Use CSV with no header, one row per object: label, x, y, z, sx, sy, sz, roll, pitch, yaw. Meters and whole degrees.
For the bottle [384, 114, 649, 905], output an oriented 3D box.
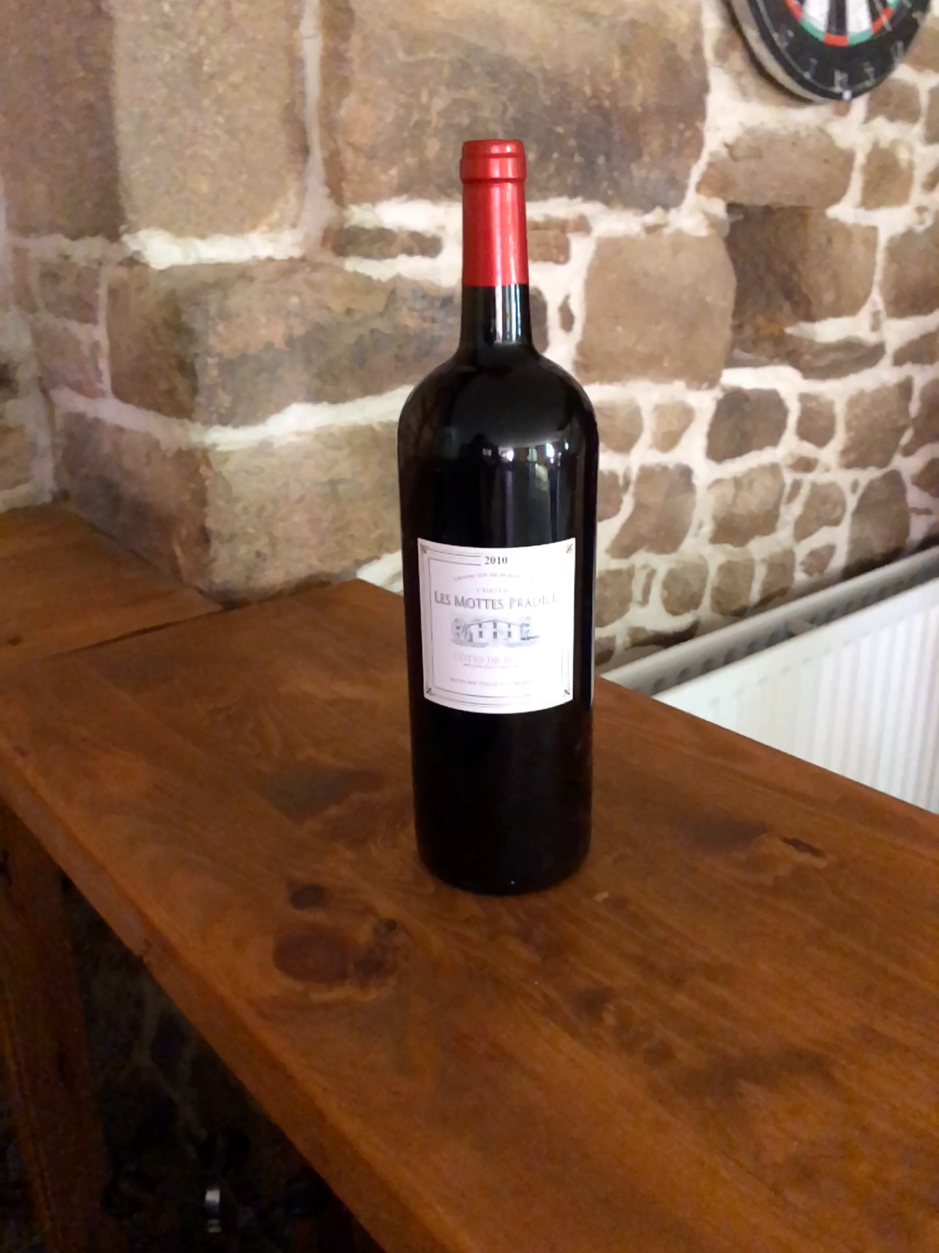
bottle,0.025,-0.047,0.497,0.100,0.348,0.101,0,20,0
